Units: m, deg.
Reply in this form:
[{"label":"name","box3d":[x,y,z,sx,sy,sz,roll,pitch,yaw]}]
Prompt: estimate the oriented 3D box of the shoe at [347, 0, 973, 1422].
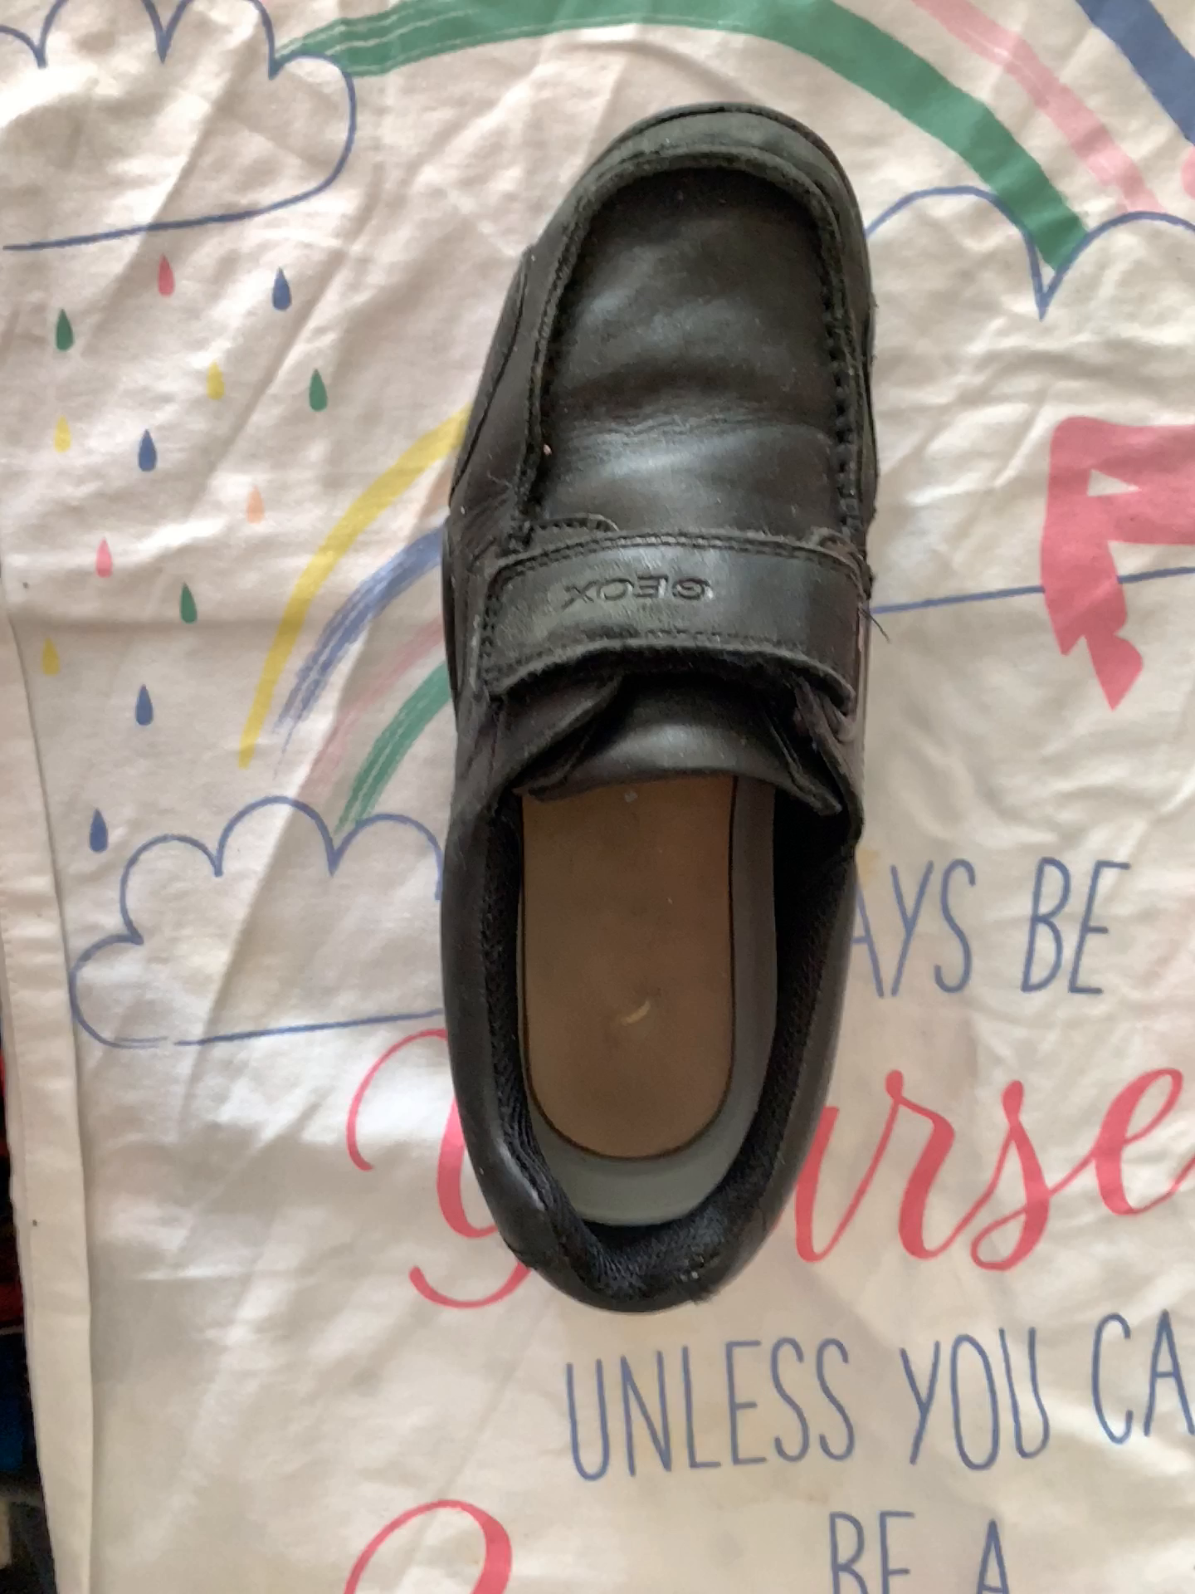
[{"label":"shoe","box3d":[0.011,-0.021,0.254,0.080,0.140,0.220,3,94,4]}]
